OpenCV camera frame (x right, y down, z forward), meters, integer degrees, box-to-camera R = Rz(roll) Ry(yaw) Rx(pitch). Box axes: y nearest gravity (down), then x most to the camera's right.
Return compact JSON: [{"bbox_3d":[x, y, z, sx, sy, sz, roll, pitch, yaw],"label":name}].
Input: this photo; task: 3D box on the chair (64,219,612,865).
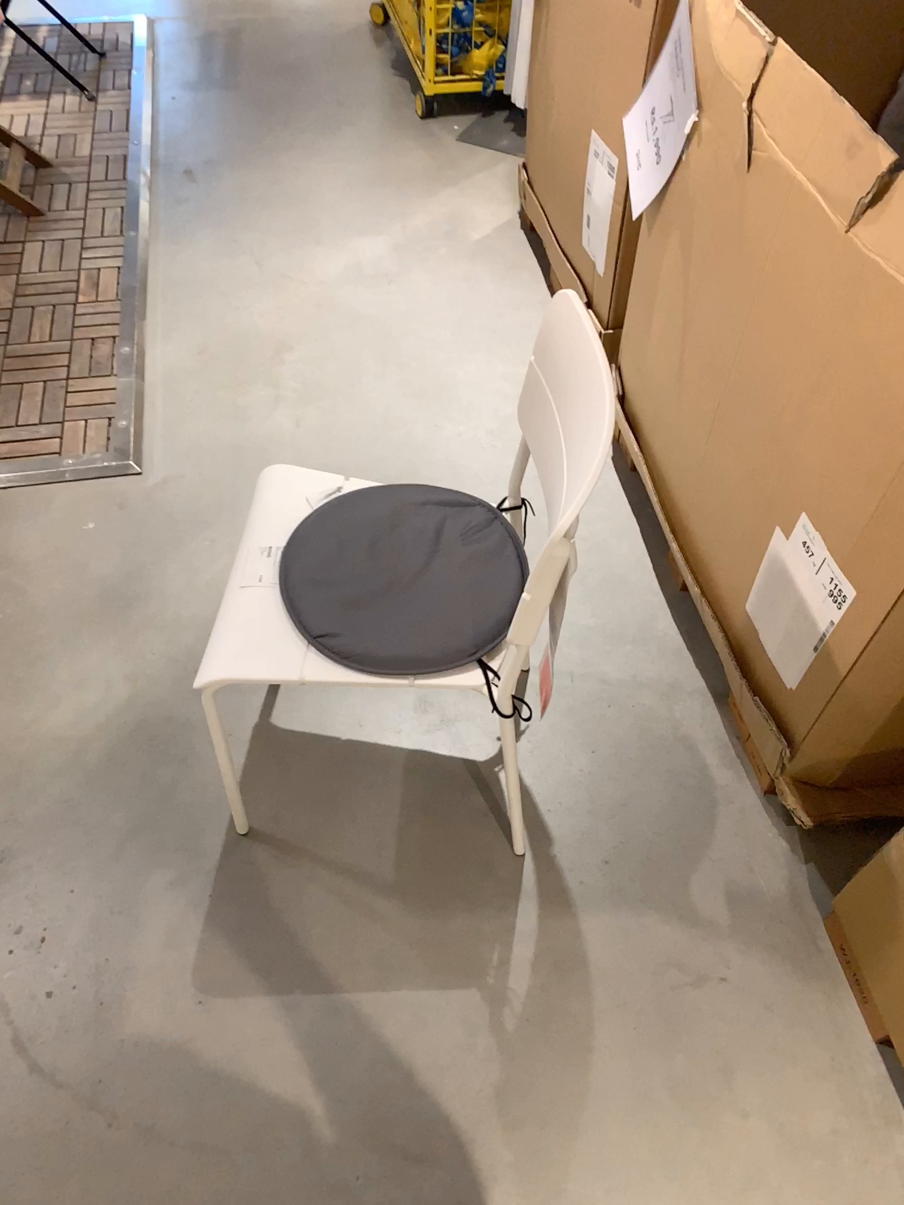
[{"bbox_3d":[-0.094,-0.037,1.243,0.490,0.718,0.461,6,51,2],"label":"chair"}]
